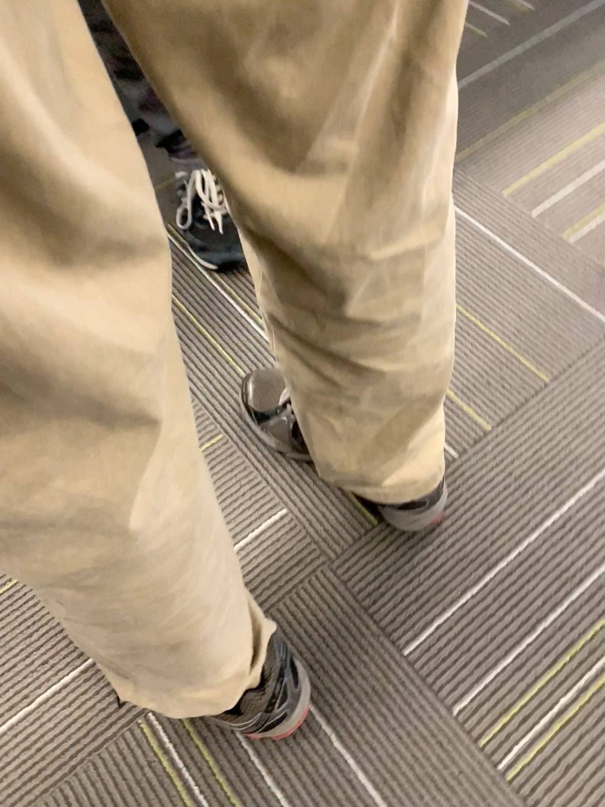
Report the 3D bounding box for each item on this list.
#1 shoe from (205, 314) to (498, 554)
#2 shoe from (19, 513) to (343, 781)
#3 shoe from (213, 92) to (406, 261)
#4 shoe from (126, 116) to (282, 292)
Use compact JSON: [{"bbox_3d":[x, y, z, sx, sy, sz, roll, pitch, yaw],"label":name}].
[{"bbox_3d":[0.054,0.030,0.778,0.328,0.087,0.134,30,66,20],"label":"shoe"},{"bbox_3d":[-0.127,0.257,0.678,0.316,0.087,0.131,23,64,17],"label":"shoe"},{"bbox_3d":[0.007,-0.387,1.039,0.131,0.087,0.316,-40,64,-18],"label":"shoe"},{"bbox_3d":[-0.161,-0.328,1.005,0.138,0.085,0.280,-26,61,-11],"label":"shoe"}]
